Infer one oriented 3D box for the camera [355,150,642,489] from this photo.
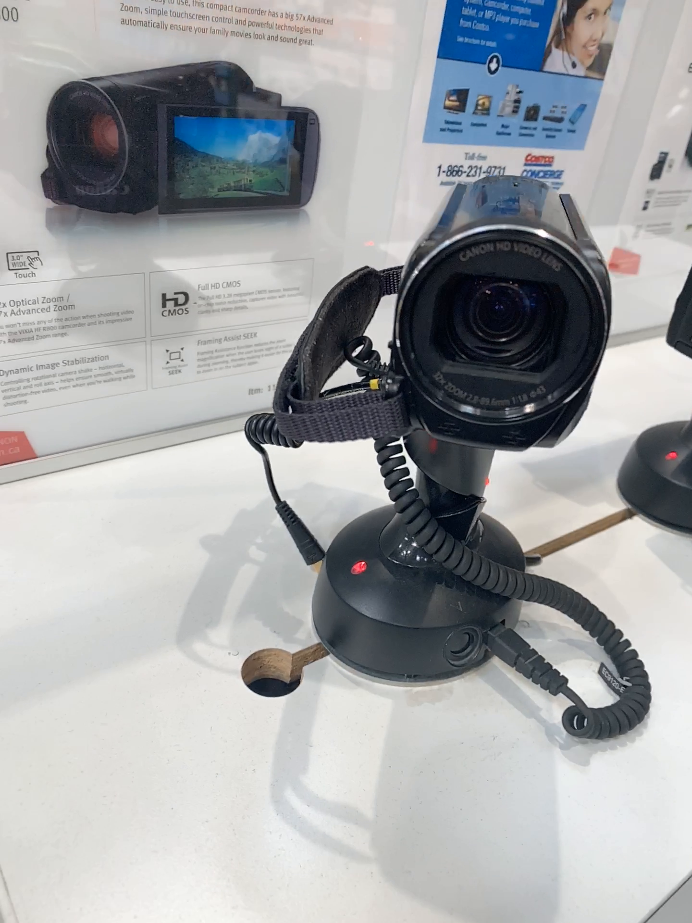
[{"bbox_3d":[0.043,-0.051,0.207,0.050,0.050,0.126,13,32,7],"label":"camera"}]
